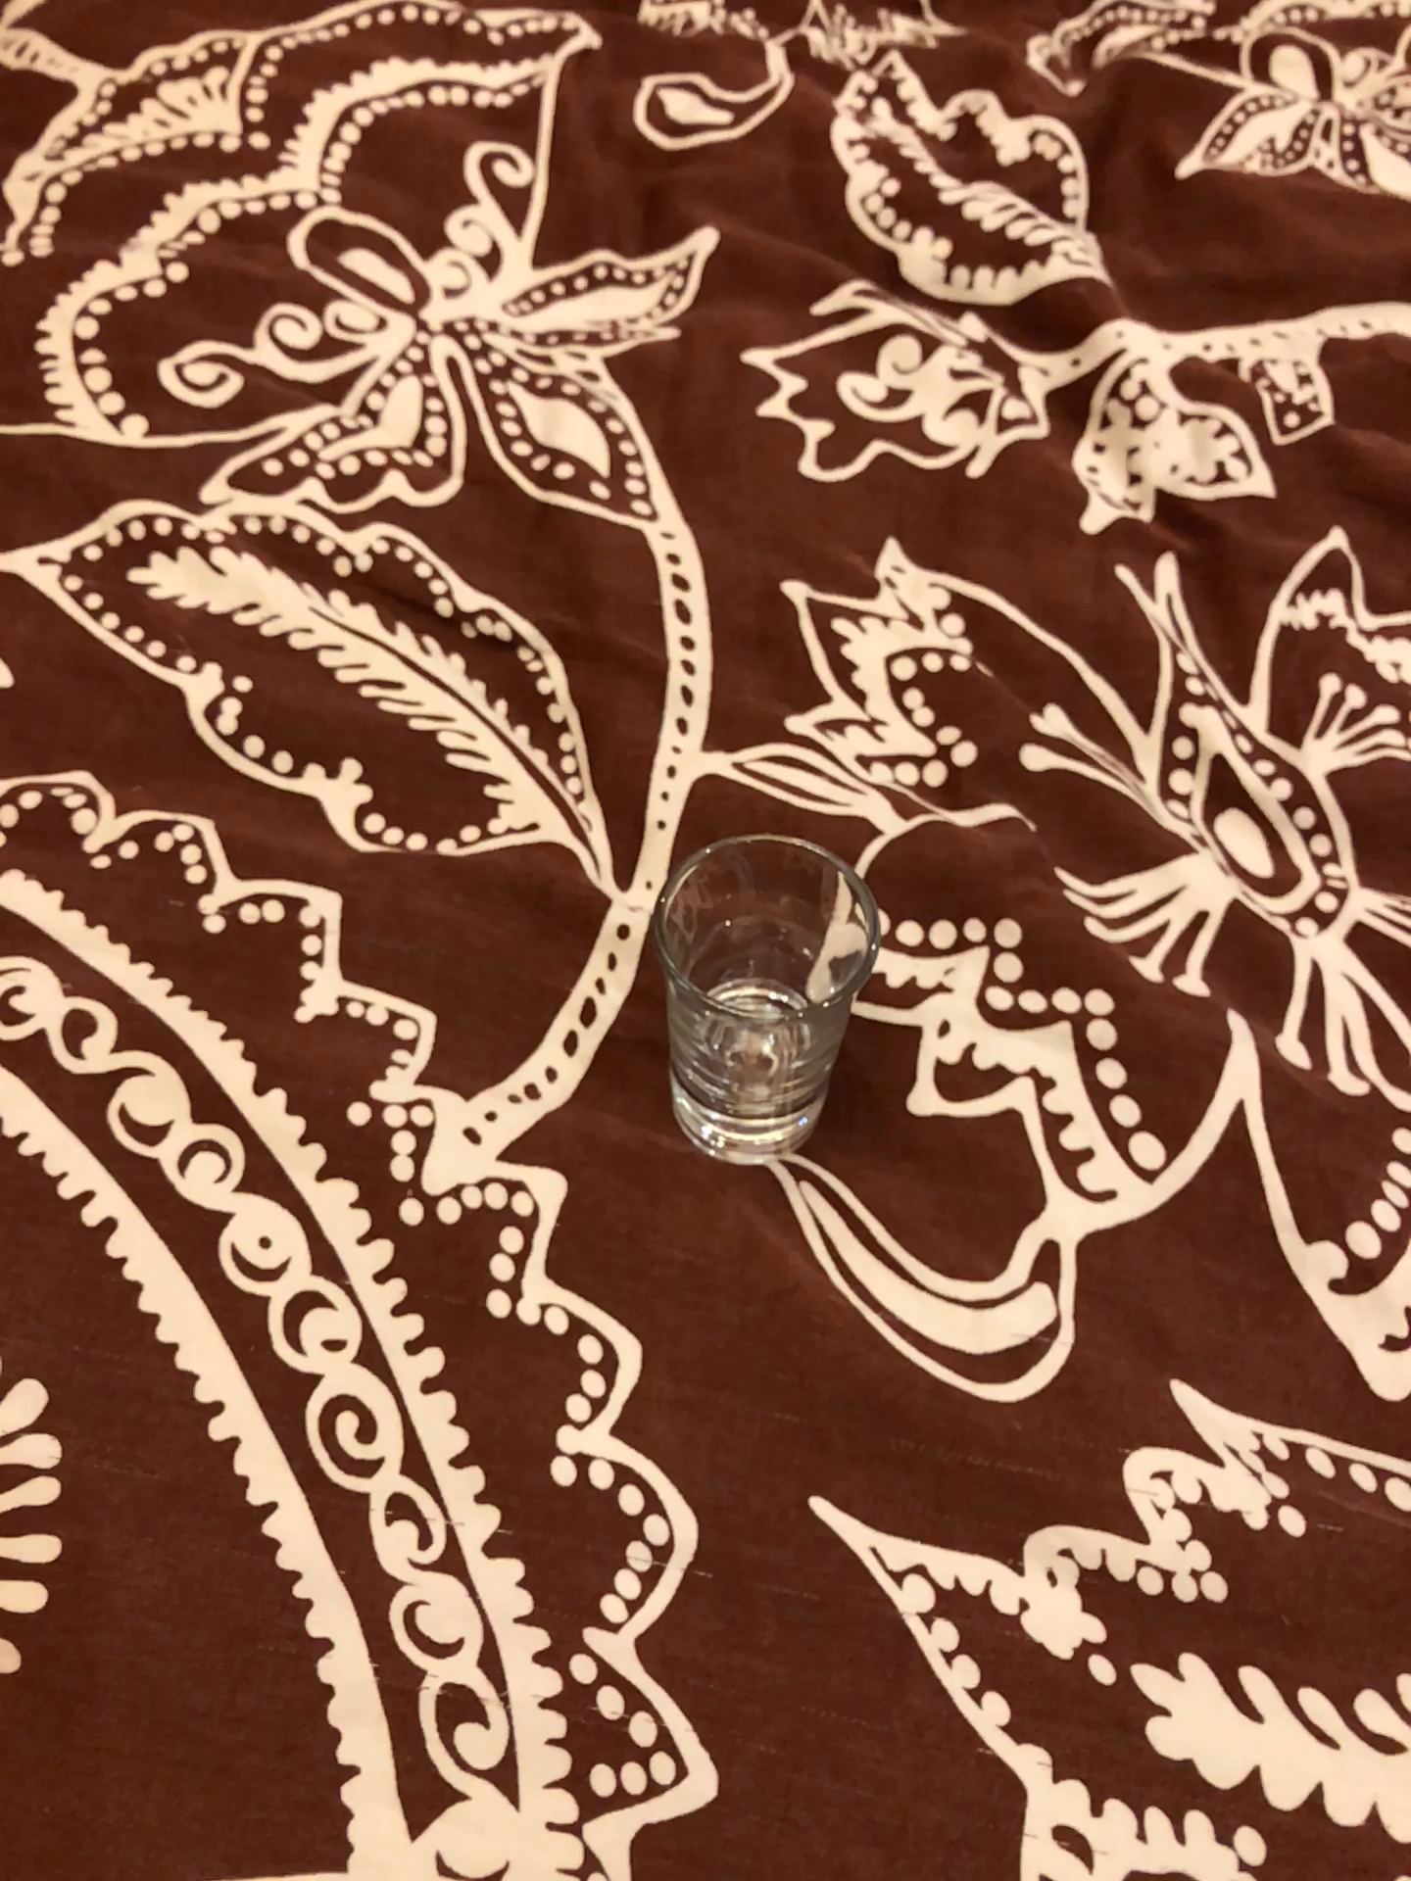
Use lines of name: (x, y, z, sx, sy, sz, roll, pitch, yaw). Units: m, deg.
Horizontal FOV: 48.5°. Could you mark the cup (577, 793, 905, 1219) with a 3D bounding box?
cup: (0.006, 0.015, 0.320, 0.045, 0.070, 0.042, 0, 59, -1)
